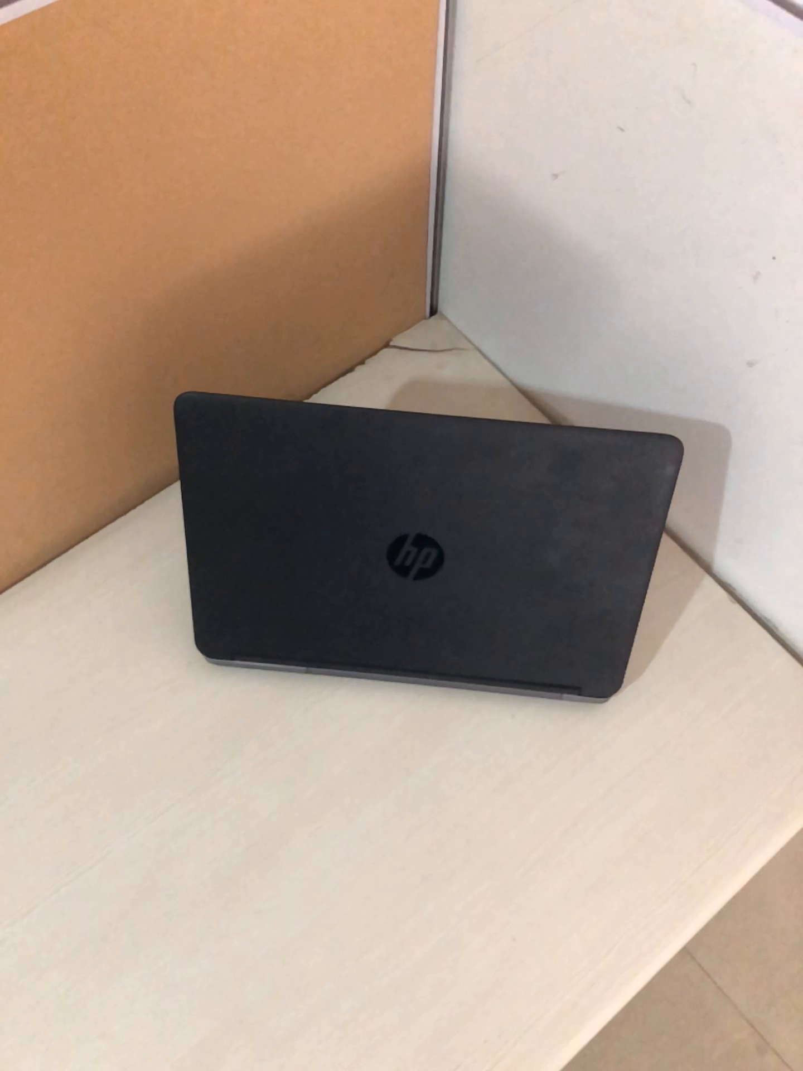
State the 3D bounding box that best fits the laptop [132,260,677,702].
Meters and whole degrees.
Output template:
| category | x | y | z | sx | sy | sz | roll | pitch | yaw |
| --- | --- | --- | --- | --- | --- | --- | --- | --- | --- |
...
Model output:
| category | x | y | z | sx | sy | sz | roll | pitch | yaw |
| --- | --- | --- | --- | --- | --- | --- | --- | --- | --- |
| laptop | 0.009 | -0.033 | 0.652 | 0.318 | 0.193 | 0.228 | 5 | 63 | 2 |
